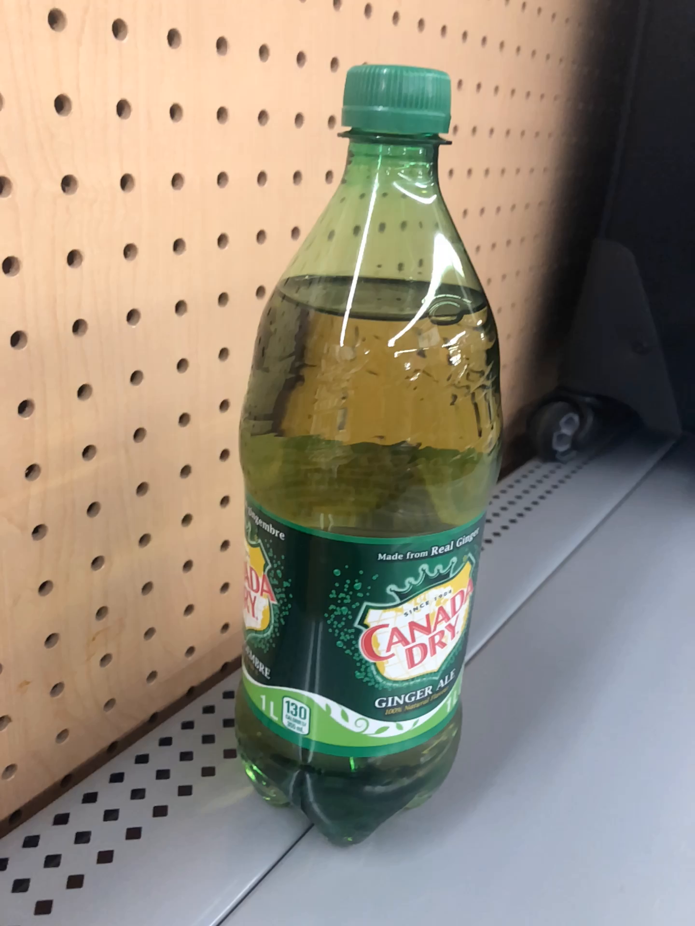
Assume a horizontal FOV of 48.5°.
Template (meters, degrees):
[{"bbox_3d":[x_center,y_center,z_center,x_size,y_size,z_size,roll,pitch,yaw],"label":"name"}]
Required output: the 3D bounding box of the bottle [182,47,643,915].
[{"bbox_3d":[0.007,0.008,0.259,0.090,0.249,0.090,3,23,-1],"label":"bottle"}]
